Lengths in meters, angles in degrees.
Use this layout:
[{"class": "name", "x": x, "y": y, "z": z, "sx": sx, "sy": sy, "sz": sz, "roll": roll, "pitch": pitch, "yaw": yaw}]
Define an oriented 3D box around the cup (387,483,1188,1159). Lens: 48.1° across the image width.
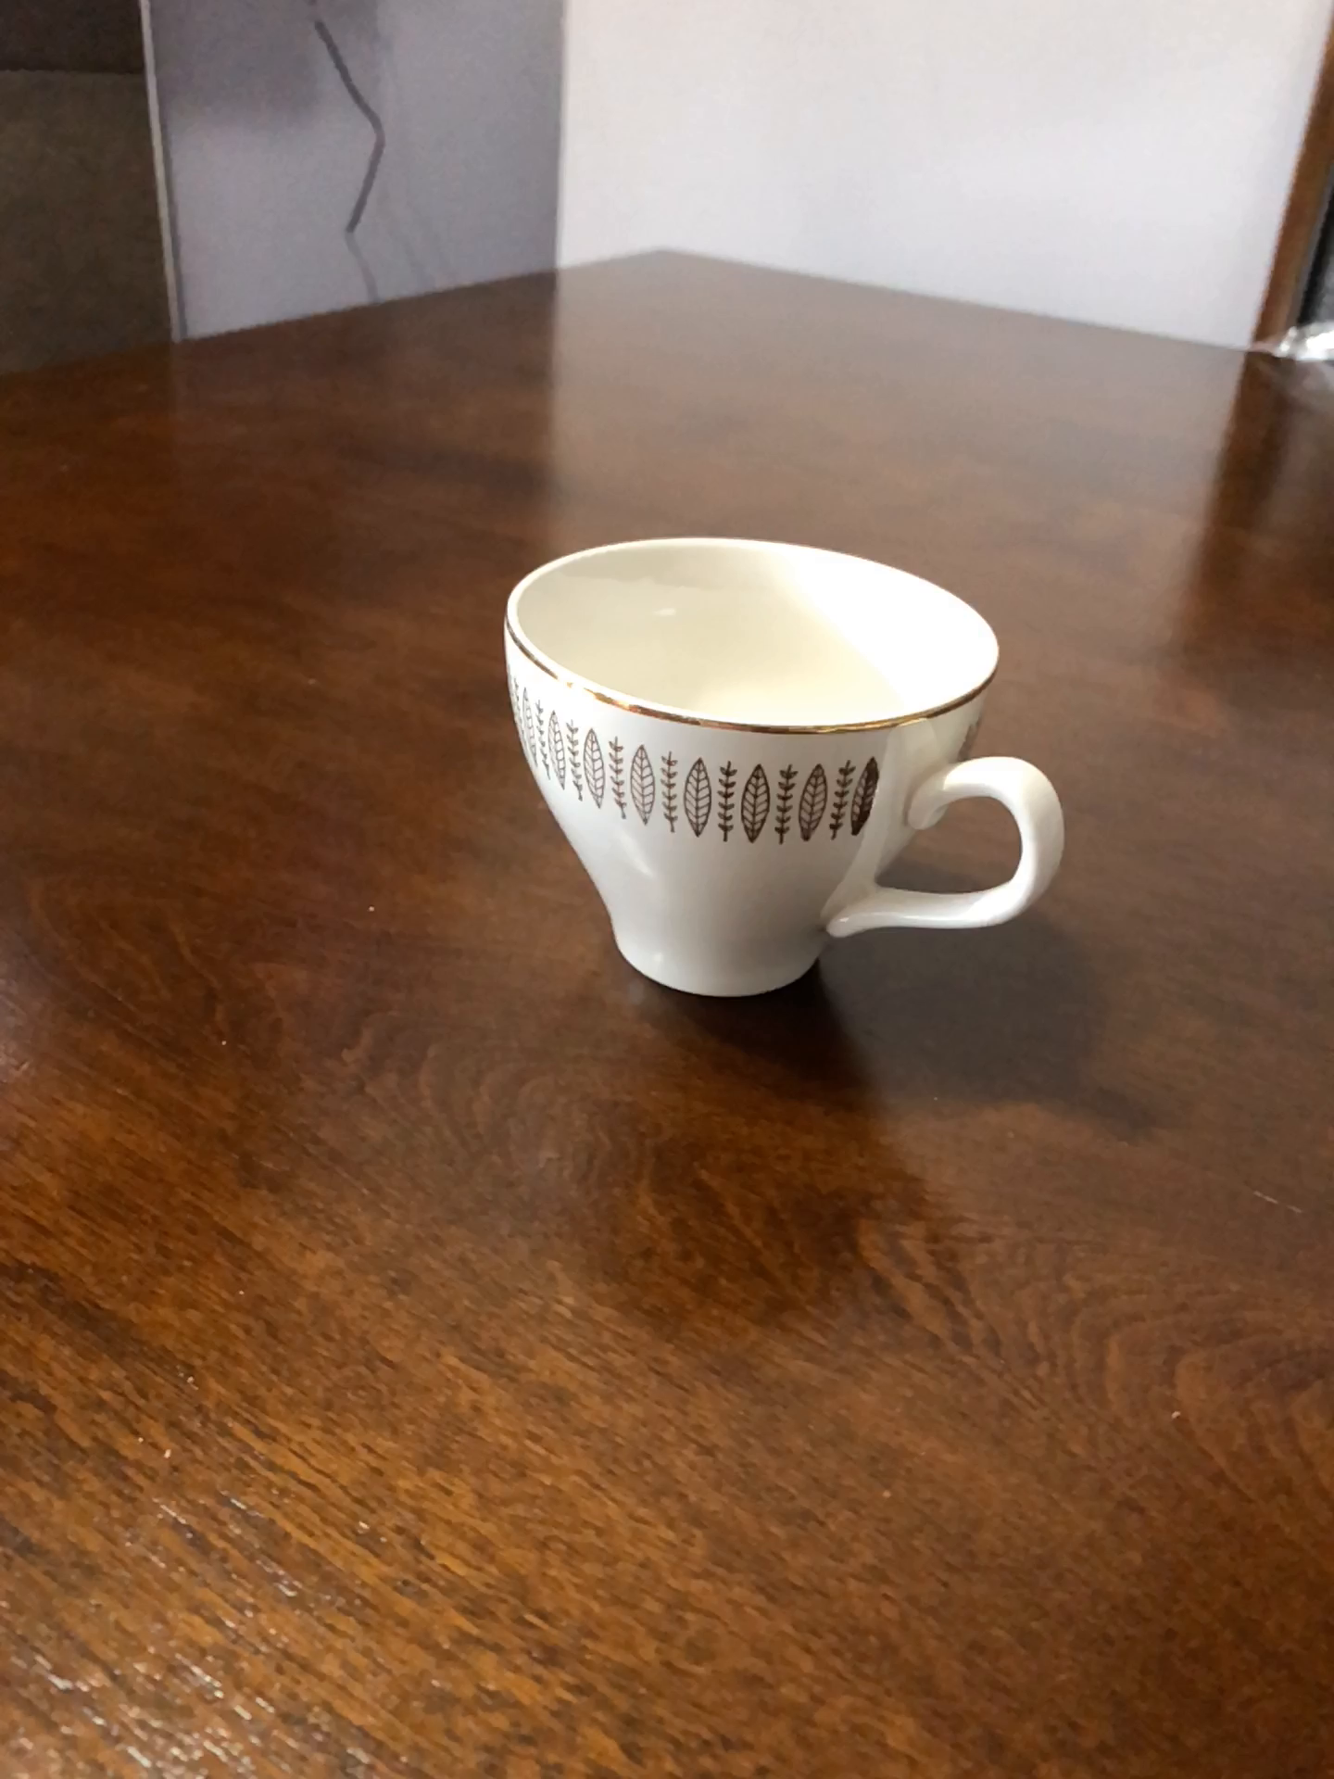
[{"class": "cup", "x": 0.020, "y": -0.021, "z": 0.261, "sx": 0.100, "sy": 0.060, "sz": 0.090, "roll": 23, "pitch": 36, "yaw": 27}]
